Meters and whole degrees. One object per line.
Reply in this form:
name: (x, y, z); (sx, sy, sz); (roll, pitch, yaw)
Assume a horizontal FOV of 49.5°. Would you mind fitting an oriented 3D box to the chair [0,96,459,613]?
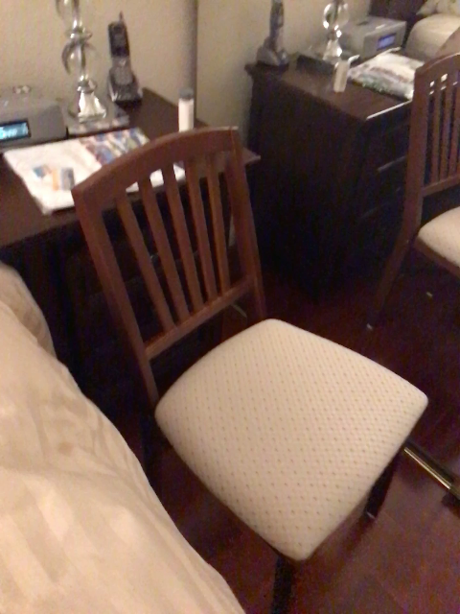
chair: (0.023, 0.225, 1.122); (0.691, 1.032, 0.624); (31, 48, 26)
